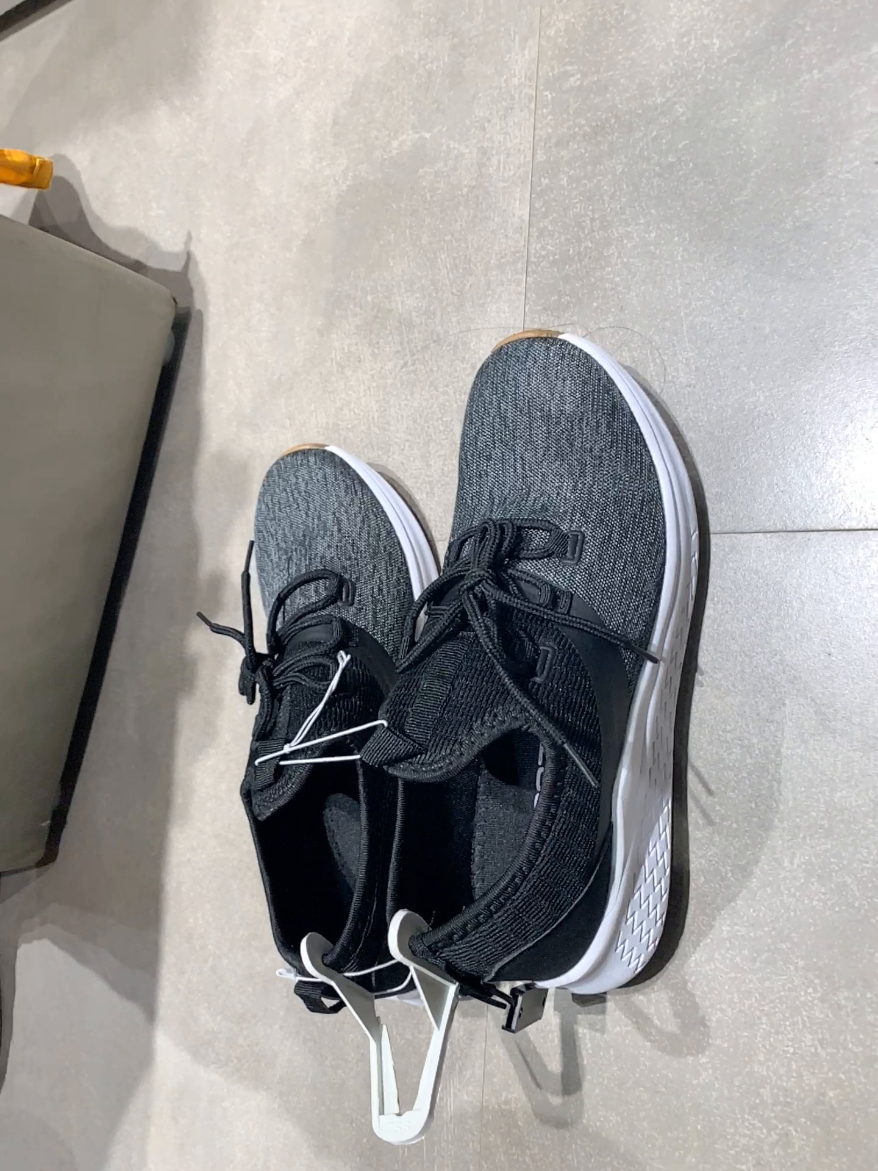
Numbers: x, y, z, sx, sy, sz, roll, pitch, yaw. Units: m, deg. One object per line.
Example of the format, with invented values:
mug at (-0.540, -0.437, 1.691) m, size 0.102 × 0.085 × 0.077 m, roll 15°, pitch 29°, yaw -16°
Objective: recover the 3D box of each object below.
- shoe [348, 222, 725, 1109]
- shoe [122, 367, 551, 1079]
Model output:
shoe at (0.038, 0.025, 0.354) m, size 0.108 × 0.096 × 0.278 m, roll -4°, pitch 83°, yaw 37°
shoe at (-0.055, 0.058, 0.418) m, size 0.107 × 0.096 × 0.278 m, roll -25°, pitch 71°, yaw 33°
